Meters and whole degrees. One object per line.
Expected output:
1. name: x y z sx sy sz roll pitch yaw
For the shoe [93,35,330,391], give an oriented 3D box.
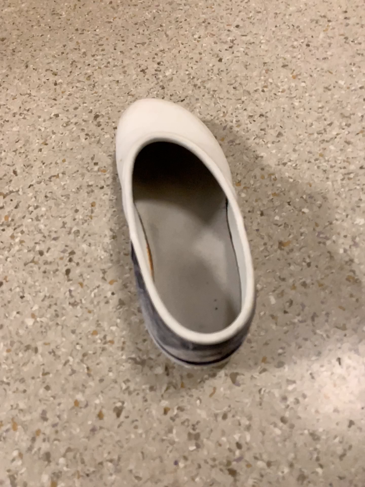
1. shoe: 0.004 -0.035 0.295 0.107 0.101 0.256 -13 59 0
